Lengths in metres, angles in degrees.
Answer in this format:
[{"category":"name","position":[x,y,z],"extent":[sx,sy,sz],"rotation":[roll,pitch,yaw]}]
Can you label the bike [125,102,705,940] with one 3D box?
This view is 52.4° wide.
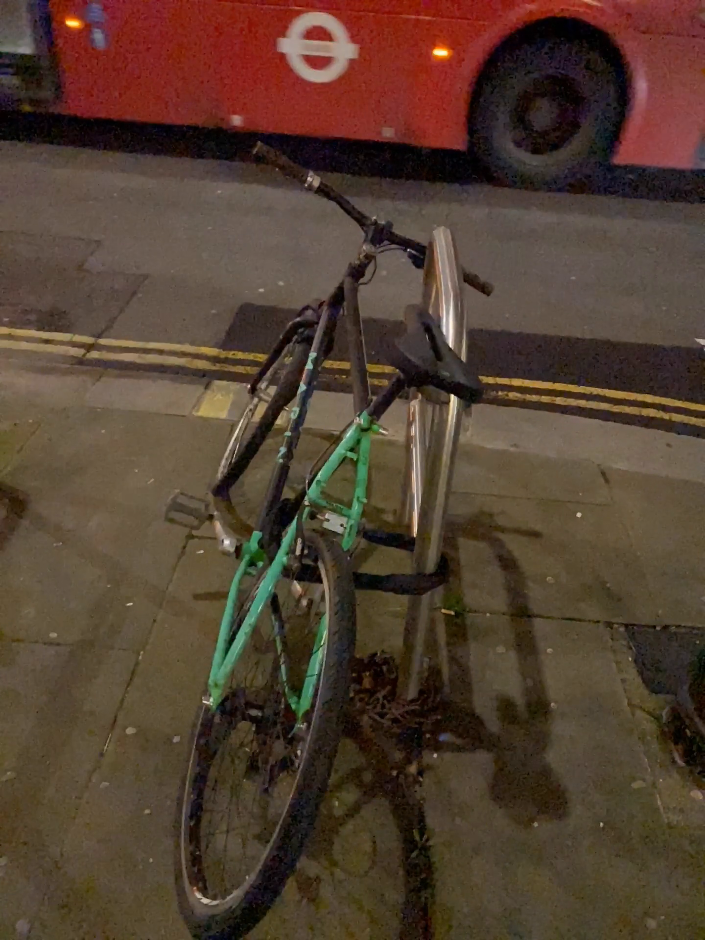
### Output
[{"category":"bike","position":[0.083,-0.068,1.538],"extent":[0.638,1.014,1.697],"rotation":[0,36,-4]}]
